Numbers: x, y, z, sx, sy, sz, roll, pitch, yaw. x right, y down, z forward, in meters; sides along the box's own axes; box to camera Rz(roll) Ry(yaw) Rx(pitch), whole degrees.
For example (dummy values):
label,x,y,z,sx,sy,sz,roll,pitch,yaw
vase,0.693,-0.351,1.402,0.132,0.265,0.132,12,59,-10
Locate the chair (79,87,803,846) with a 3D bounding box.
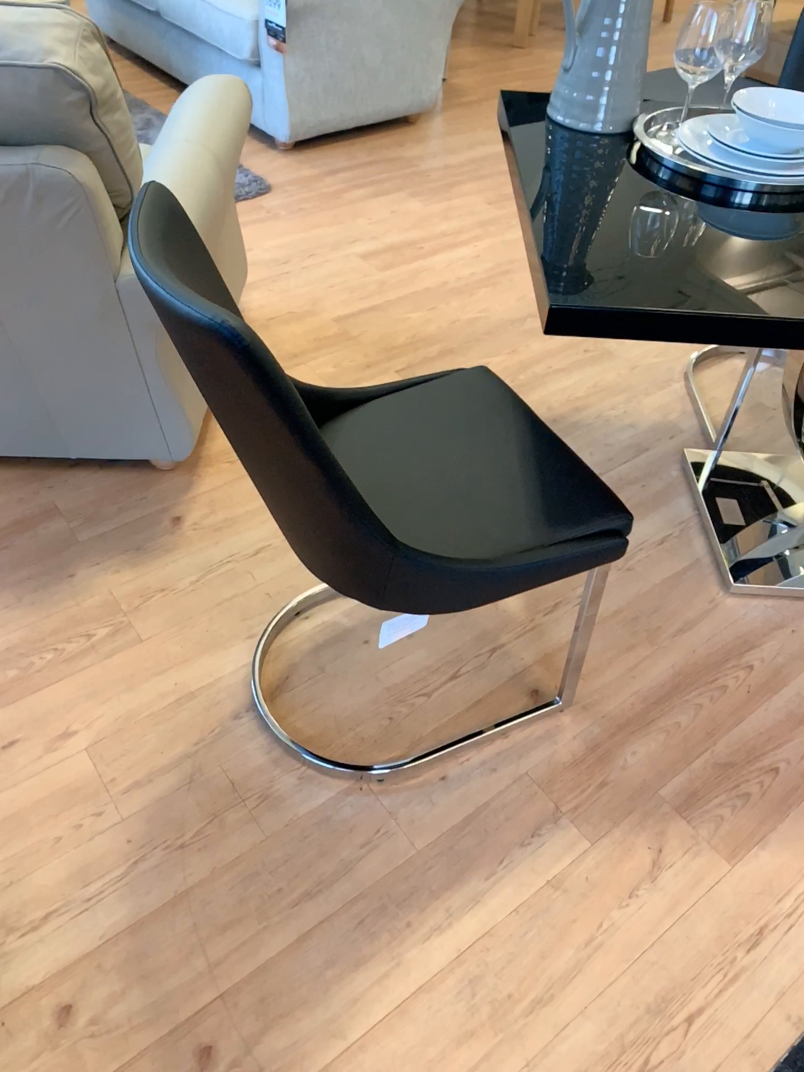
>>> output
label,x,y,z,sx,sy,sz,roll,pitch,yaw
chair,0.005,-0.099,1.178,0.631,0.812,0.509,-19,48,-22
